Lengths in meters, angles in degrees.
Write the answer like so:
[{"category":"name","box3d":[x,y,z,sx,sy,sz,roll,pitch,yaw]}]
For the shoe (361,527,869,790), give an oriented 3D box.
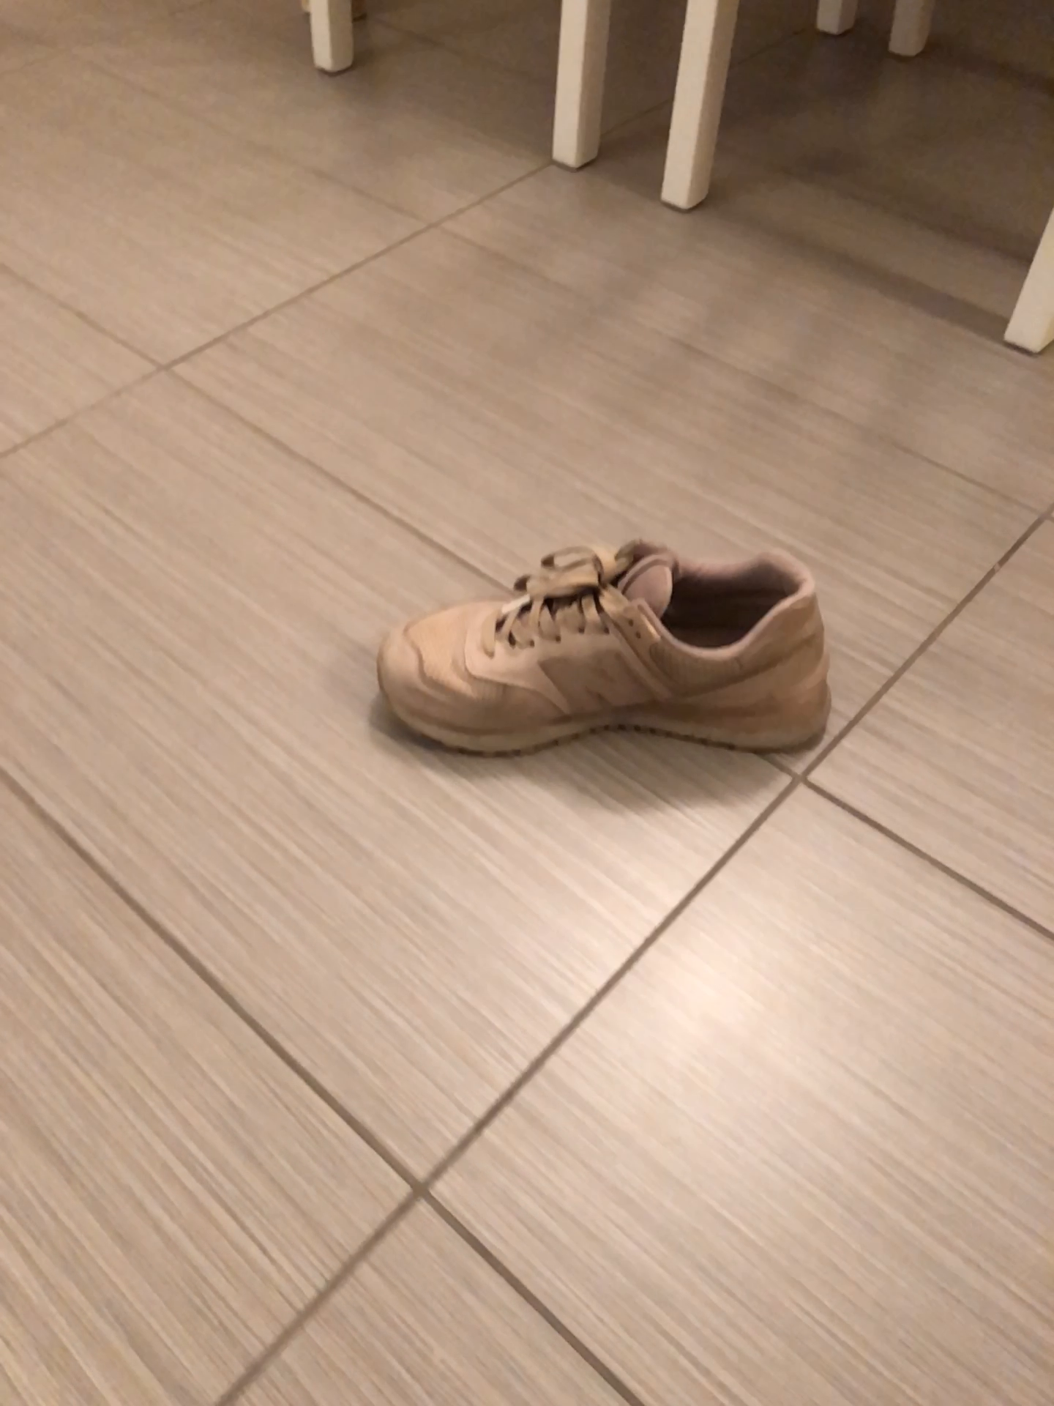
[{"category":"shoe","box3d":[0.051,-0.028,0.680,0.270,0.090,0.101,5,49,5]}]
